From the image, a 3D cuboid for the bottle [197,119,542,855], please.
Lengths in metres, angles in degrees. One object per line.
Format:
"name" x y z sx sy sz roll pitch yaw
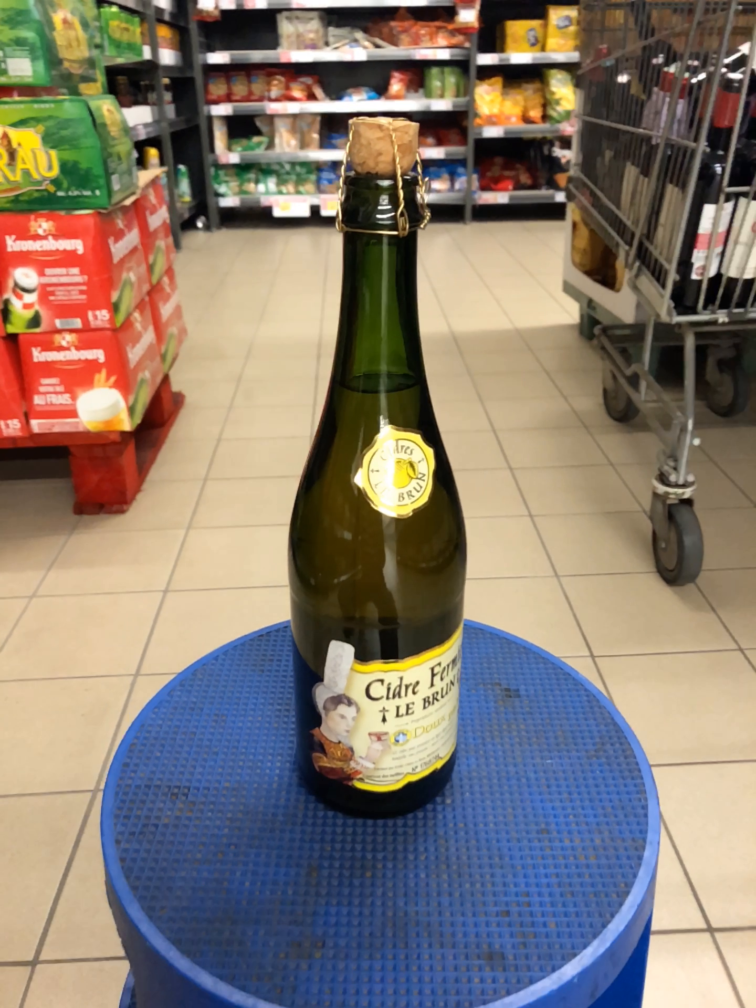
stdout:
"bottle" -0.002 -0.004 0.368 0.090 0.298 0.090 -1 26 0
